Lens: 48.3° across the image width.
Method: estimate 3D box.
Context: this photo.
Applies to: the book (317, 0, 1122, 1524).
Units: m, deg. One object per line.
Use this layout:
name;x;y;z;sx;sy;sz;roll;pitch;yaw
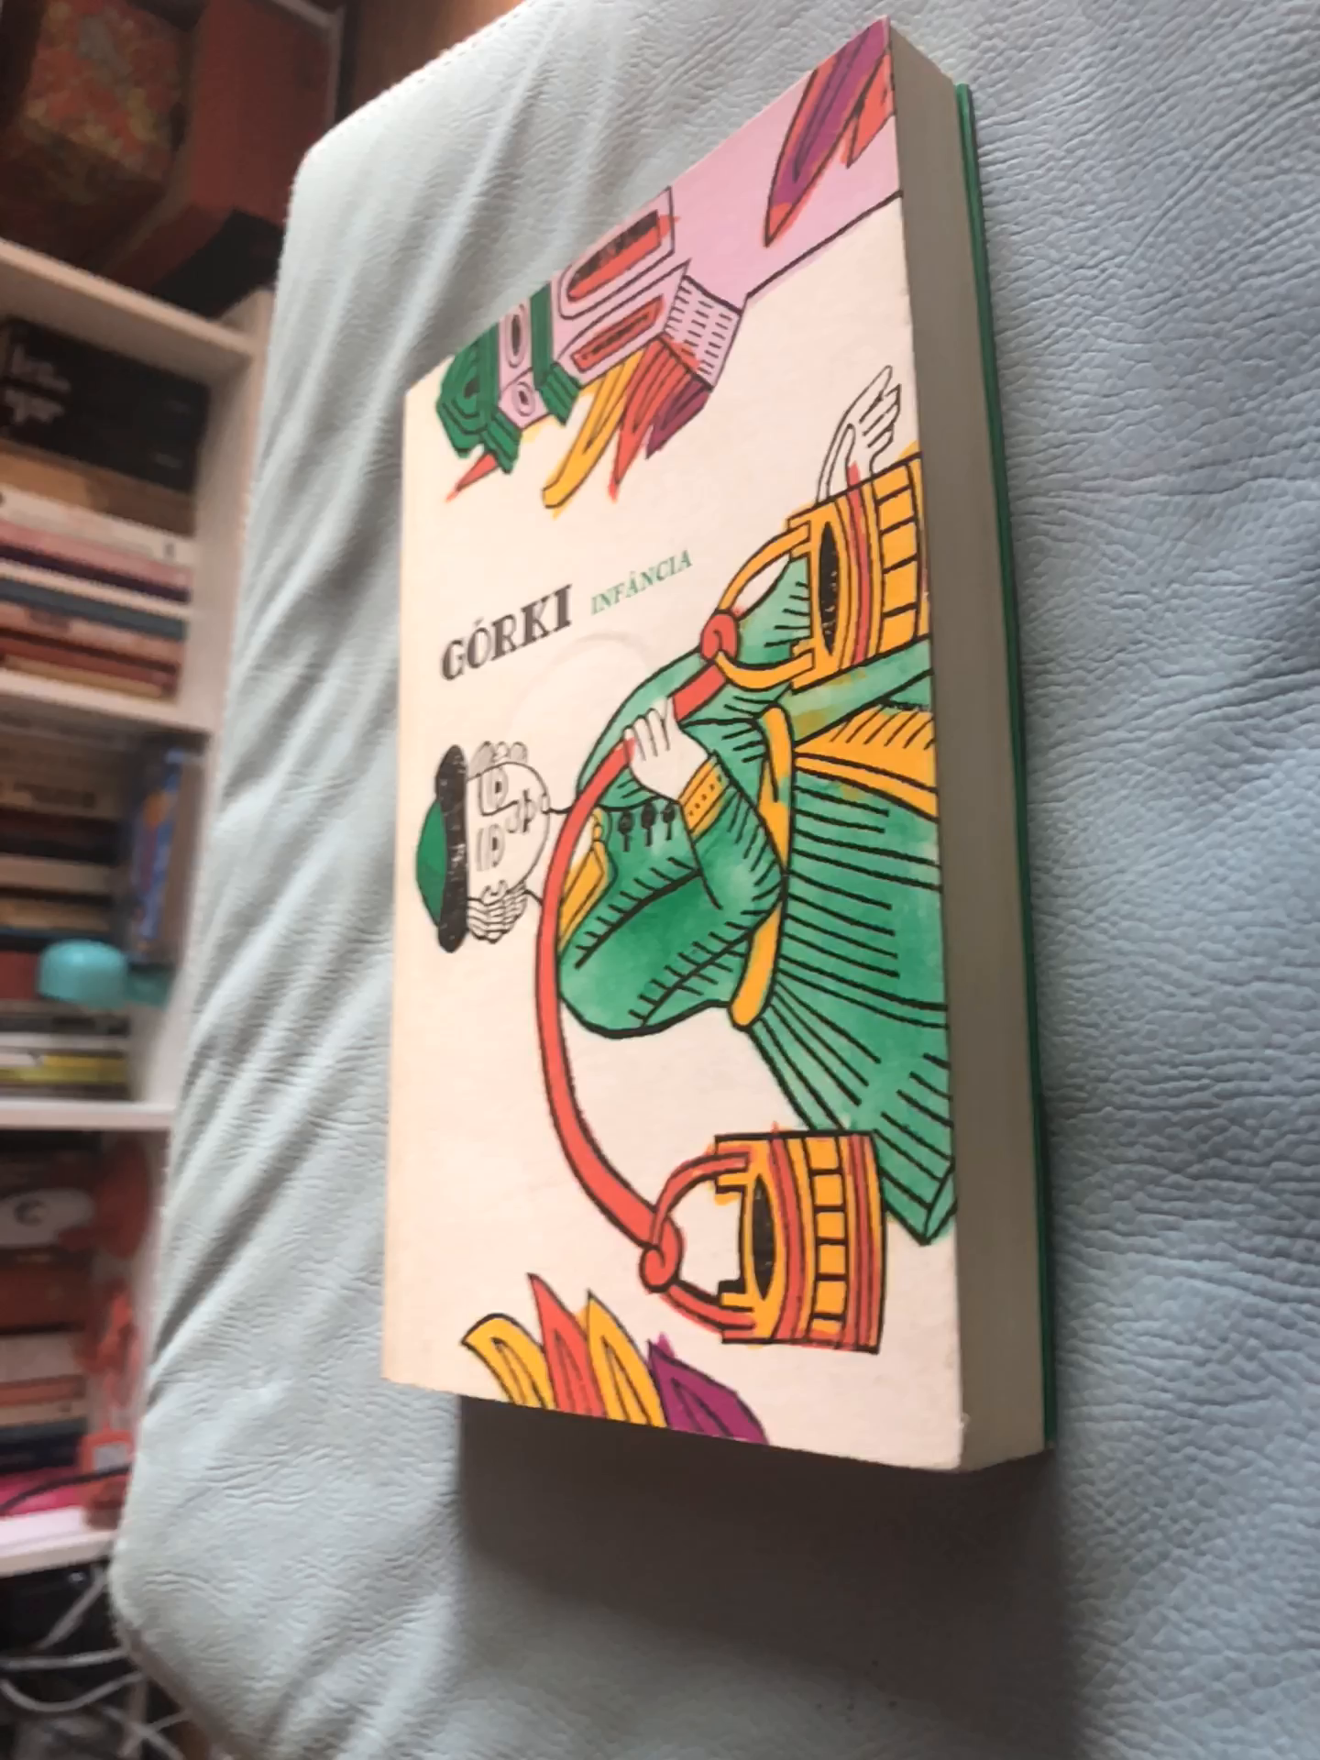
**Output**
book;-0.004;-0.019;0.227;0.131;0.030;0.200;-15;71;47
